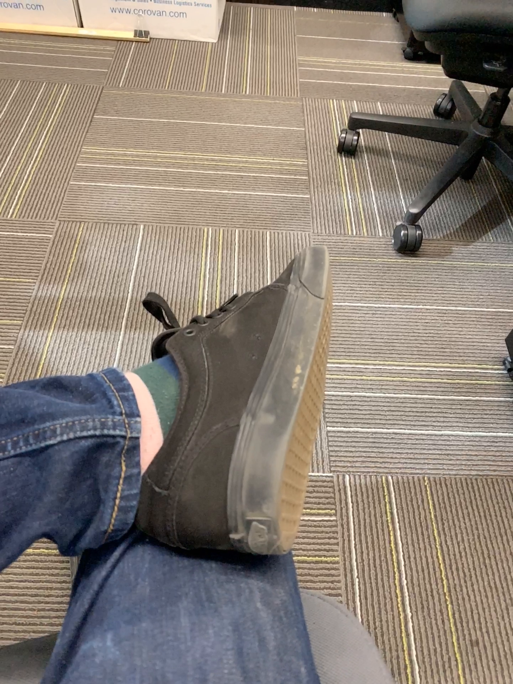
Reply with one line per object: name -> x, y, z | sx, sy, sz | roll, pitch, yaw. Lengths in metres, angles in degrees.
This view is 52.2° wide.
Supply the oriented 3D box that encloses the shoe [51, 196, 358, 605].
shoe -> -0.010, 0.026, 0.387 | 0.134, 0.120, 0.261 | 7, 53, 11
